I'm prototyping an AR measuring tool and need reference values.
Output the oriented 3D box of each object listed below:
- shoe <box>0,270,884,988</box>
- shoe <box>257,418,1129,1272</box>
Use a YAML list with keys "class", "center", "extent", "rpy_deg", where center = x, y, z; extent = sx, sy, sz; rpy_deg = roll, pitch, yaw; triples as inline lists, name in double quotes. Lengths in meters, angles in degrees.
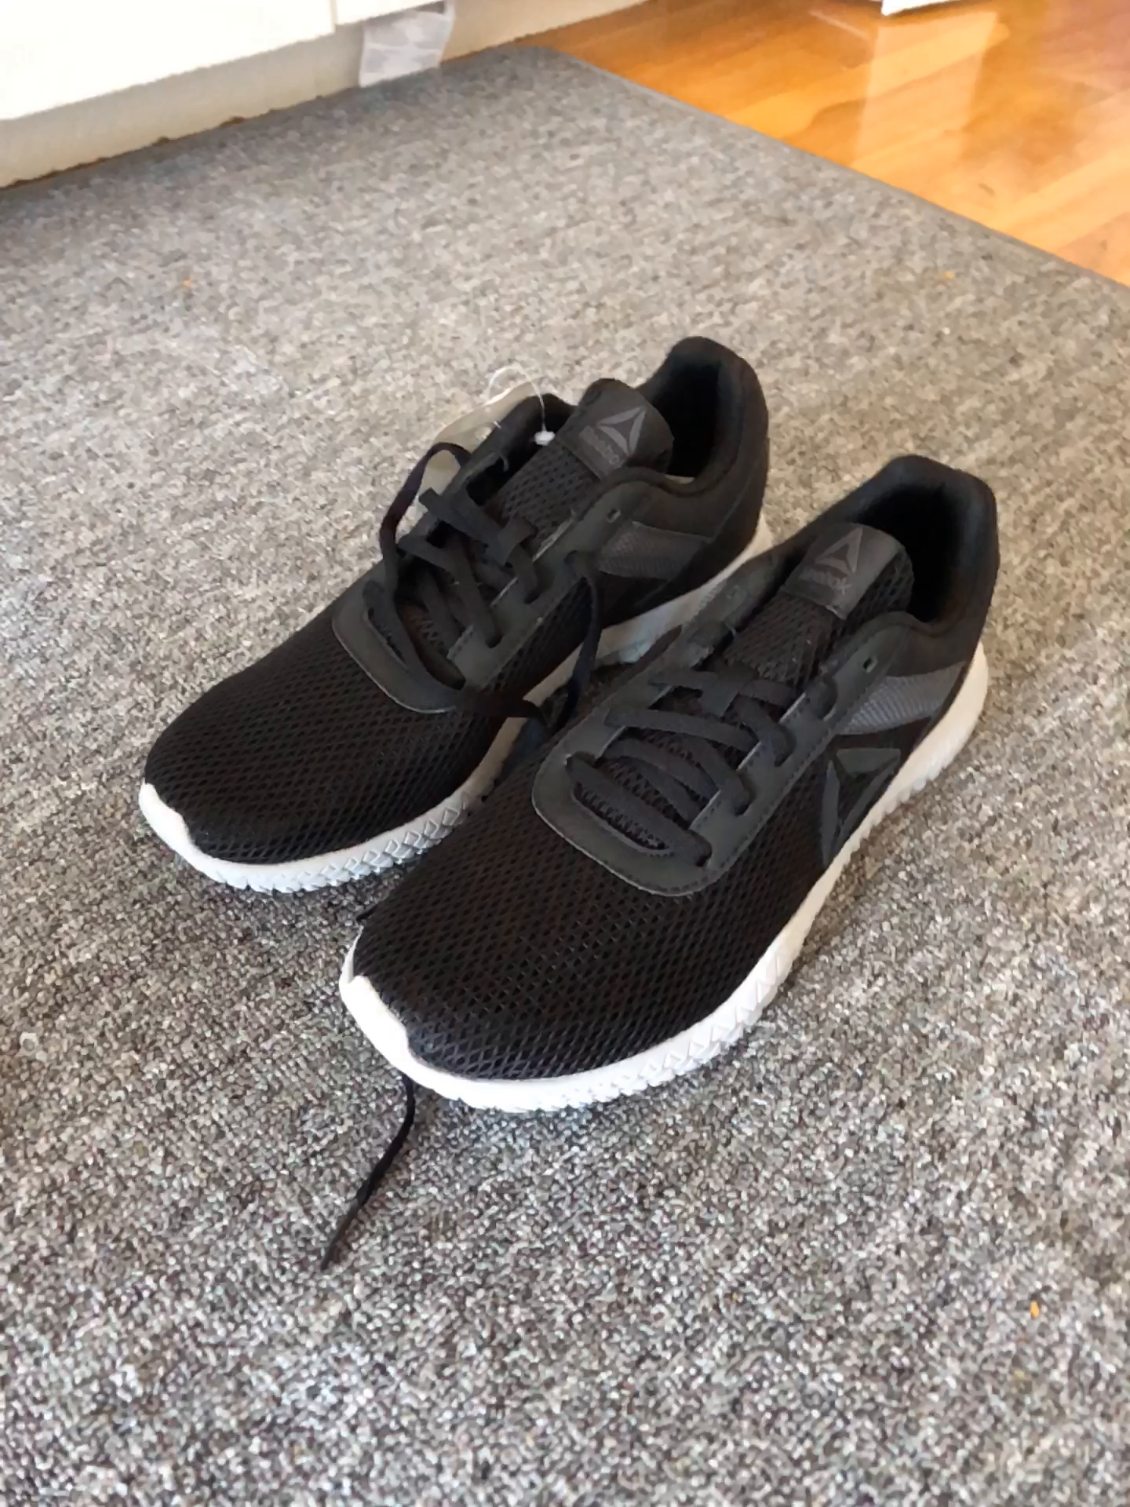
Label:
- class: "shoe"
  center: [-0.029, -0.065, 0.462]
  extent: [0.301, 0.099, 0.117]
  rpy_deg: [-34, 57, -30]
- class: "shoe"
  center: [0.060, 0.008, 0.421]
  extent: [0.111, 0.099, 0.301]
  rpy_deg: [36, 55, 27]
